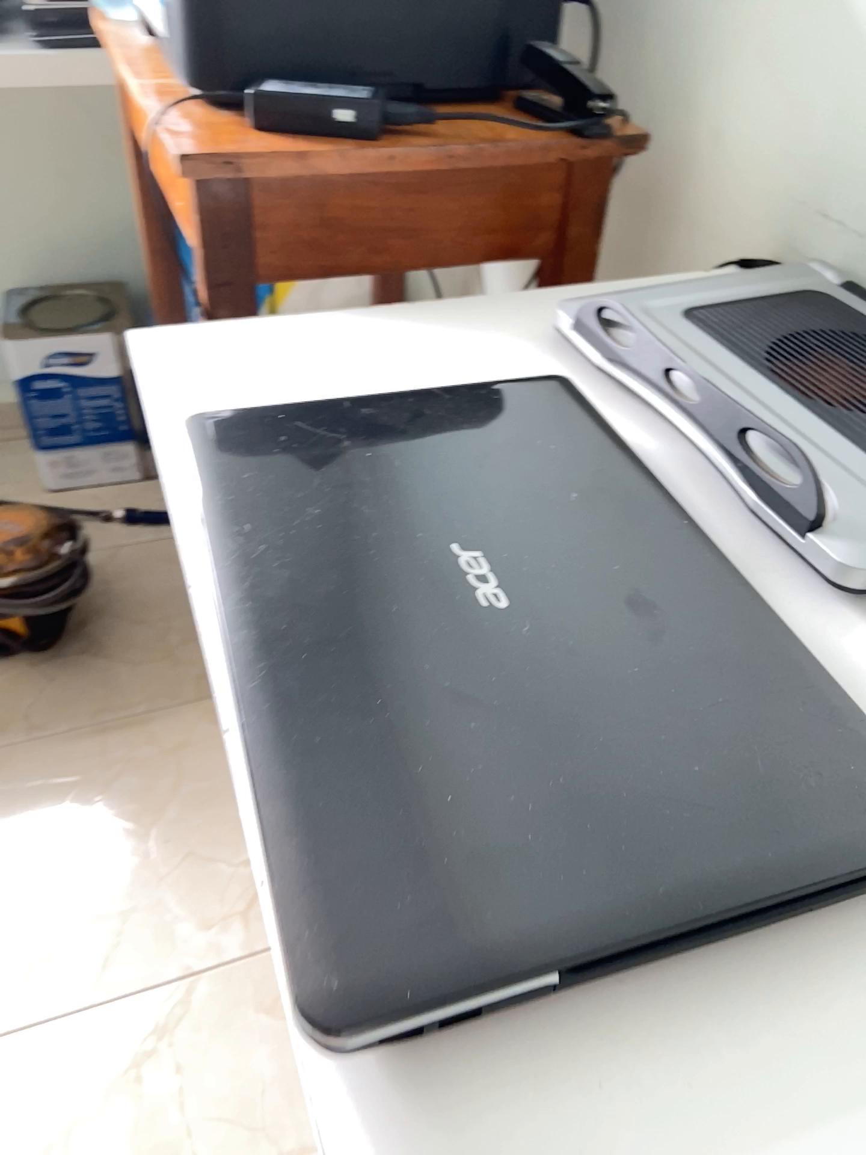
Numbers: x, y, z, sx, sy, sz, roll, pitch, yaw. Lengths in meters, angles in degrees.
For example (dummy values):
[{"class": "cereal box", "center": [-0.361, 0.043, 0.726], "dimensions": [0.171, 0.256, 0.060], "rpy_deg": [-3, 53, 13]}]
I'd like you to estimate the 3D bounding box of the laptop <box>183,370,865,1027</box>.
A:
[{"class": "laptop", "center": [0.025, -0.001, 0.399], "dimensions": [0.230, 0.005, 0.336], "rpy_deg": [-9, 42, -16]}]
